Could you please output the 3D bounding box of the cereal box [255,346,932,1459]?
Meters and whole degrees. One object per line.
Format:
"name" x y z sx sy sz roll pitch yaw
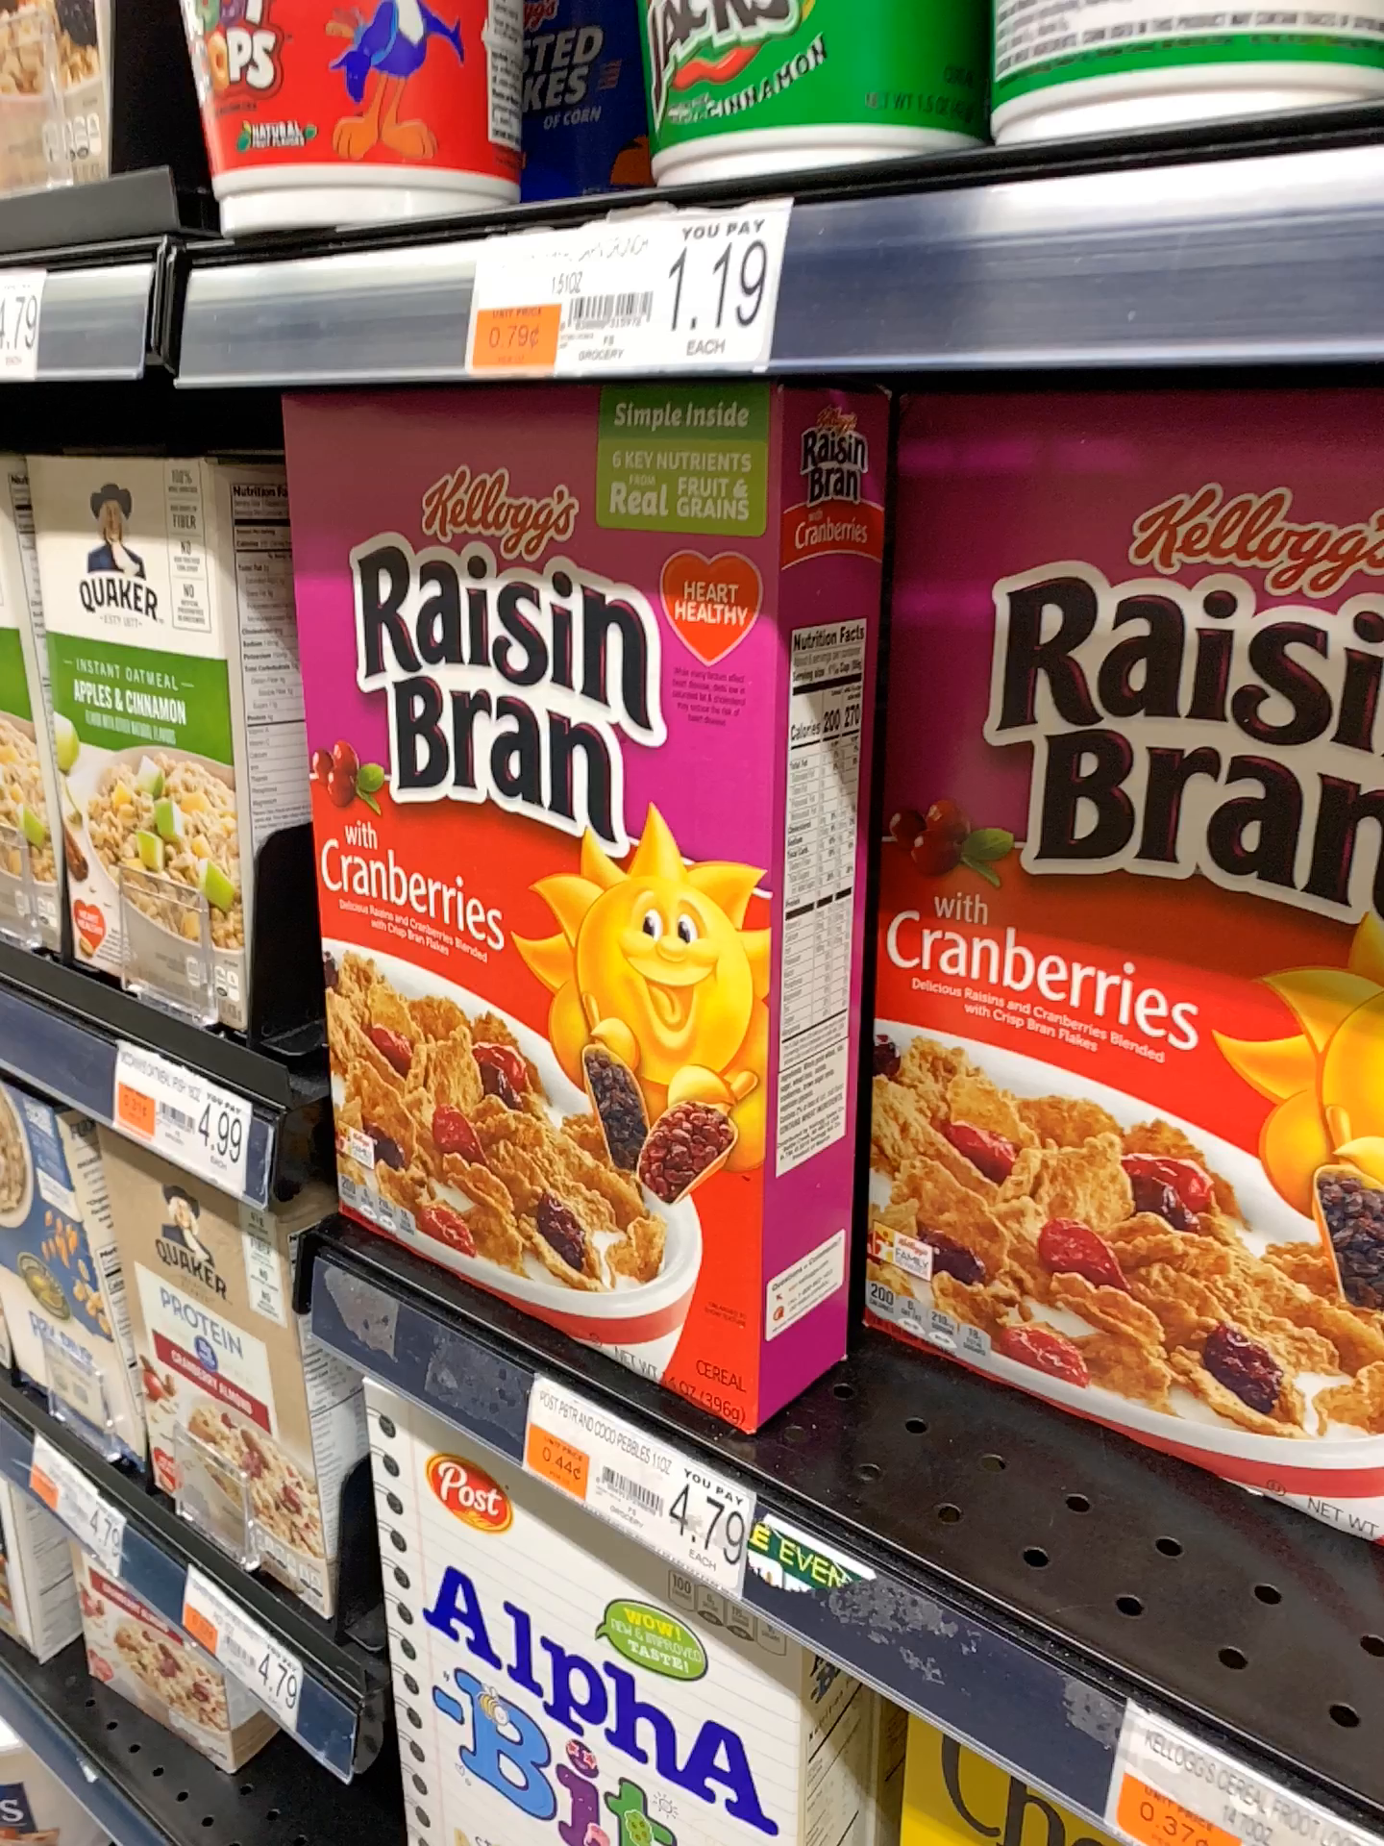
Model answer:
"cereal box" -0.038 -0.016 0.436 0.200 0.289 0.060 15 23 38
